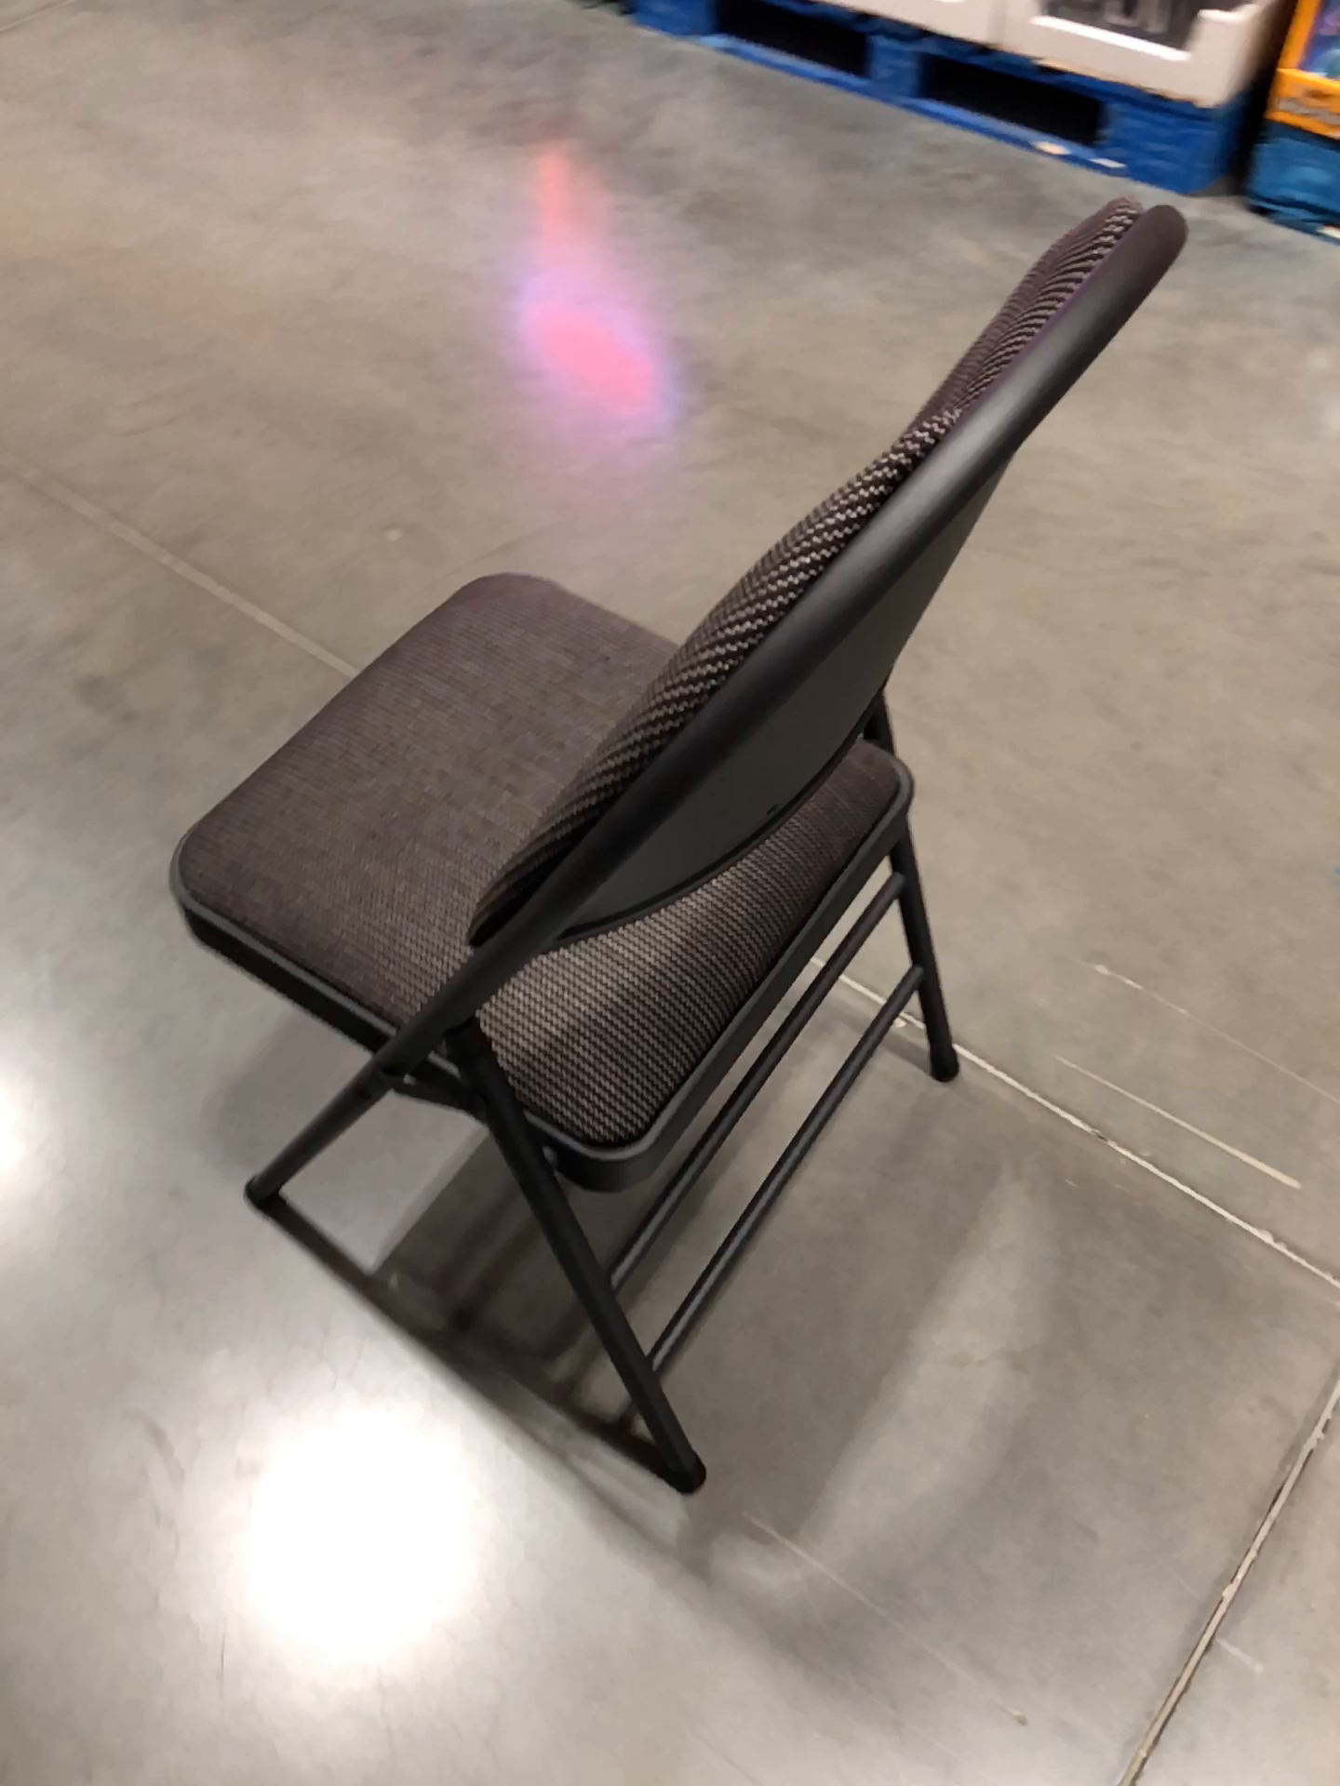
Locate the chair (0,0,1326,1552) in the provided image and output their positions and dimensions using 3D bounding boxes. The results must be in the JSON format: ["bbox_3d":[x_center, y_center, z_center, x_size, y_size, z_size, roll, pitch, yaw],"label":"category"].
[{"bbox_3d":[-0.073,-0.088,0.966,0.561,0.867,0.521,27,56,22],"label":"chair"}]
